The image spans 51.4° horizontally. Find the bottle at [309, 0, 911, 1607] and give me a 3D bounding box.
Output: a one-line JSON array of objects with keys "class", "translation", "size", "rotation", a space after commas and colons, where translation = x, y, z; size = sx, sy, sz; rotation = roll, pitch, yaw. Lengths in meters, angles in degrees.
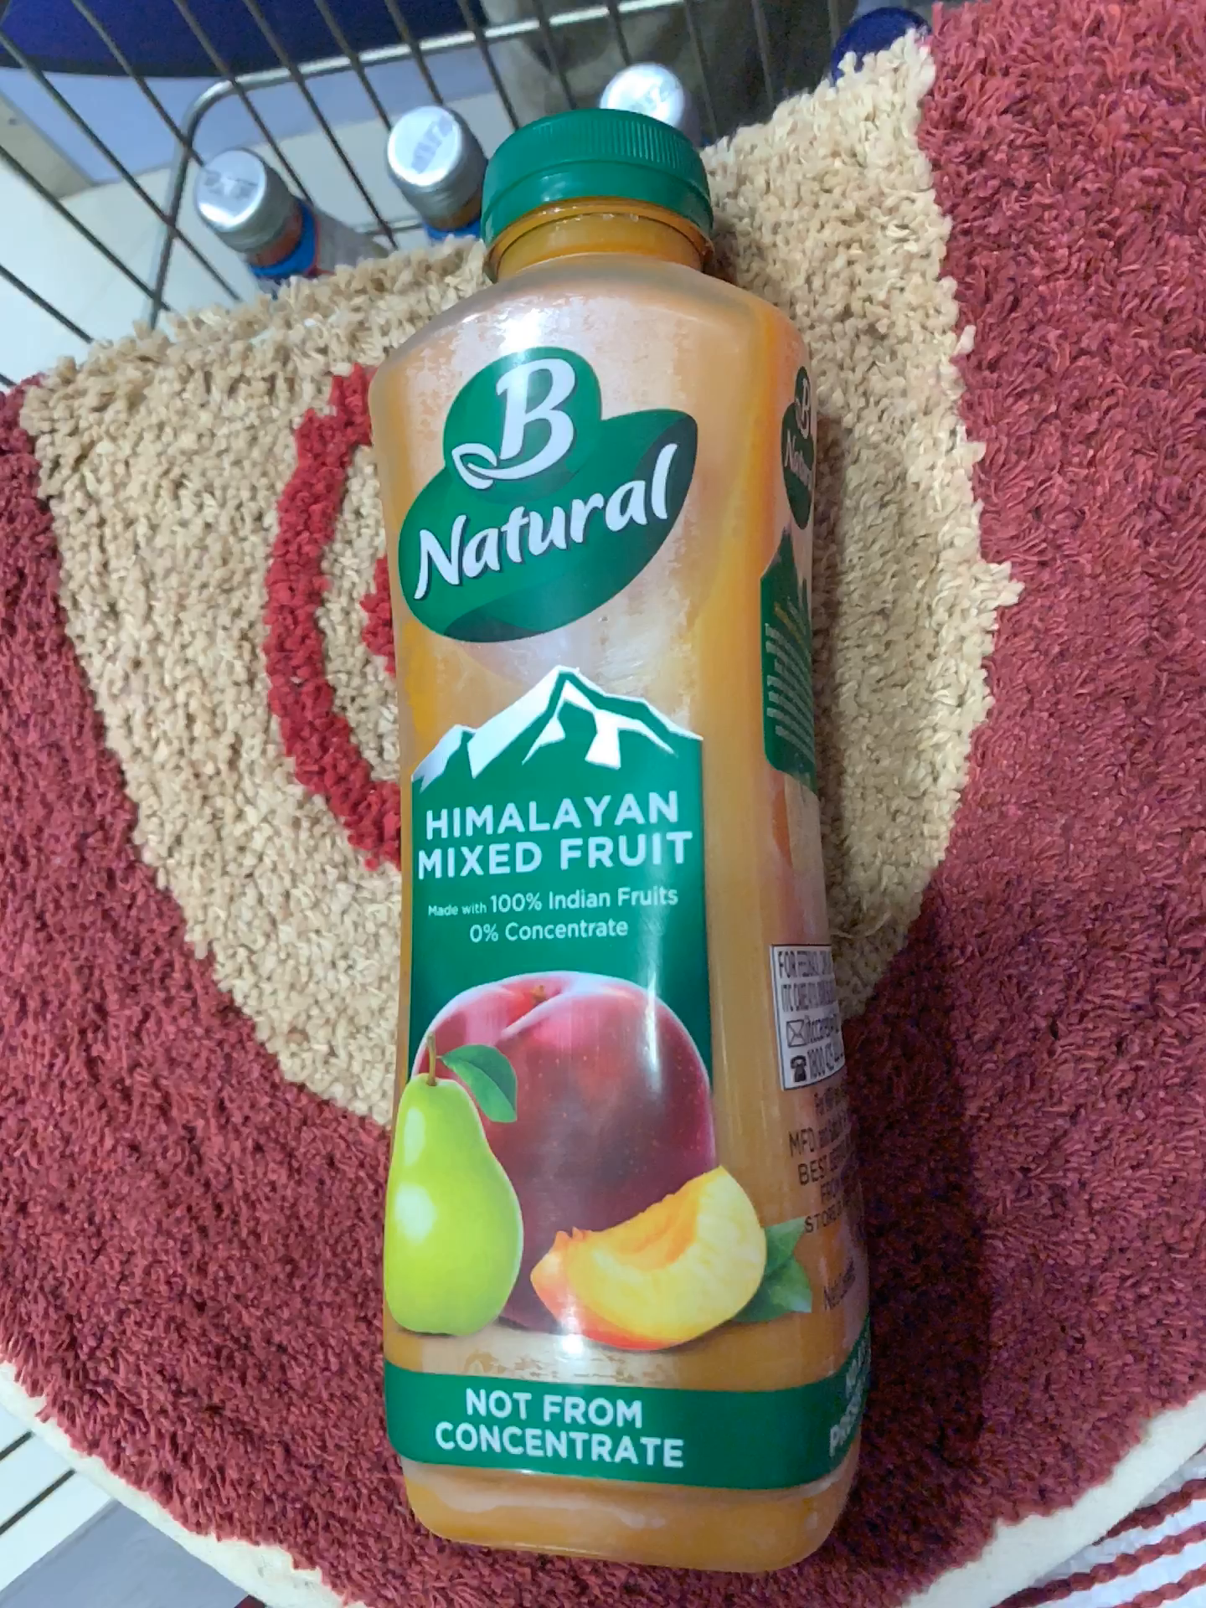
[{"class": "bottle", "translation": [0.006, -0.010, 0.201], "size": [0.070, 0.070, 0.230], "rotation": [-3, 79, 16]}]
